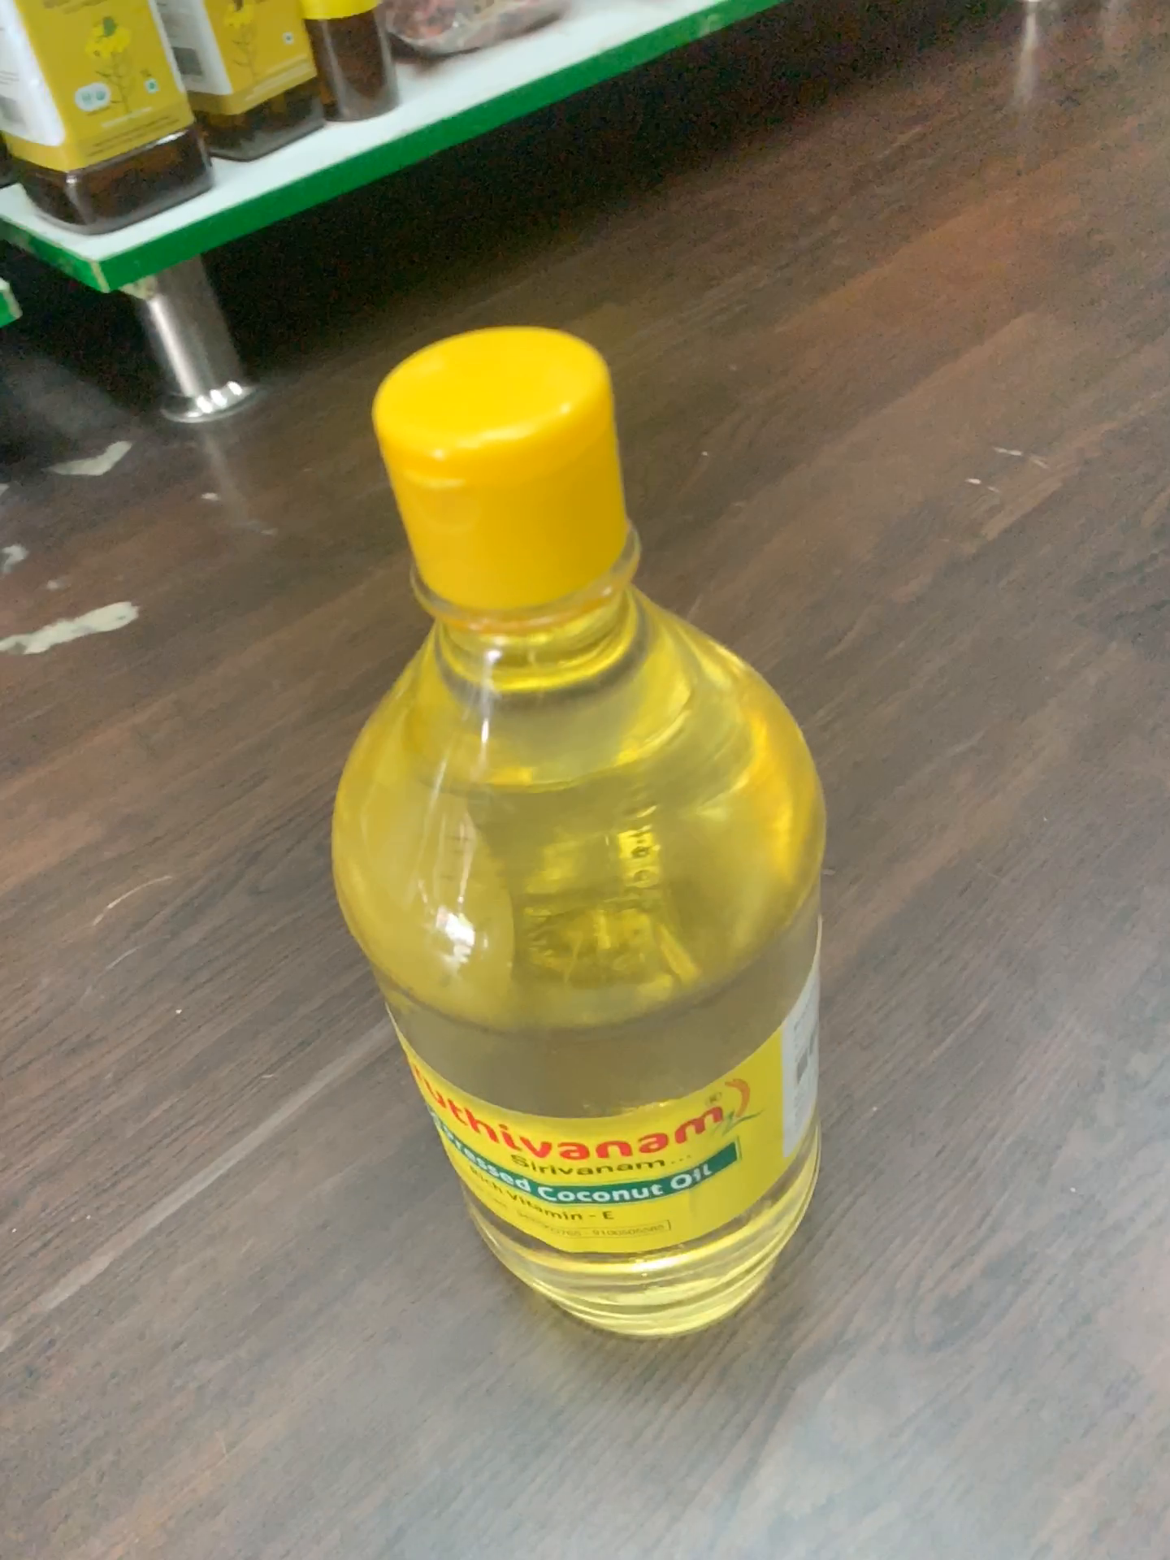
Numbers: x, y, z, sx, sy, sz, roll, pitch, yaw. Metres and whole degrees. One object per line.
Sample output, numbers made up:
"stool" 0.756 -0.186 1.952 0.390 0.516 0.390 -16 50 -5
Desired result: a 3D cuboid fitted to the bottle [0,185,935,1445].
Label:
"bottle" -0.003 0.021 0.220 0.090 0.209 0.090 -5 45 5
